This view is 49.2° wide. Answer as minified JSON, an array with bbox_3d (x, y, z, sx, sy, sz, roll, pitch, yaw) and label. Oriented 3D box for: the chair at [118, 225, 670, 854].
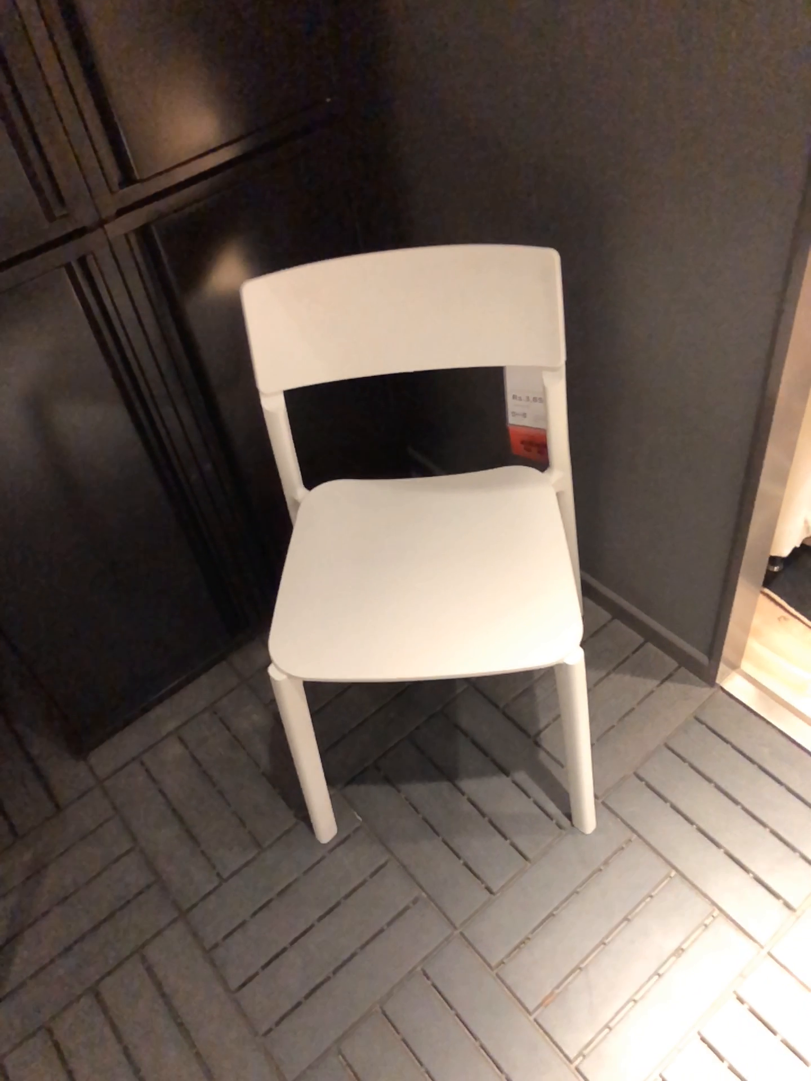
[{"bbox_3d":[0.031,0.040,1.211,0.500,0.706,0.473,-4,46,6],"label":"chair"}]
